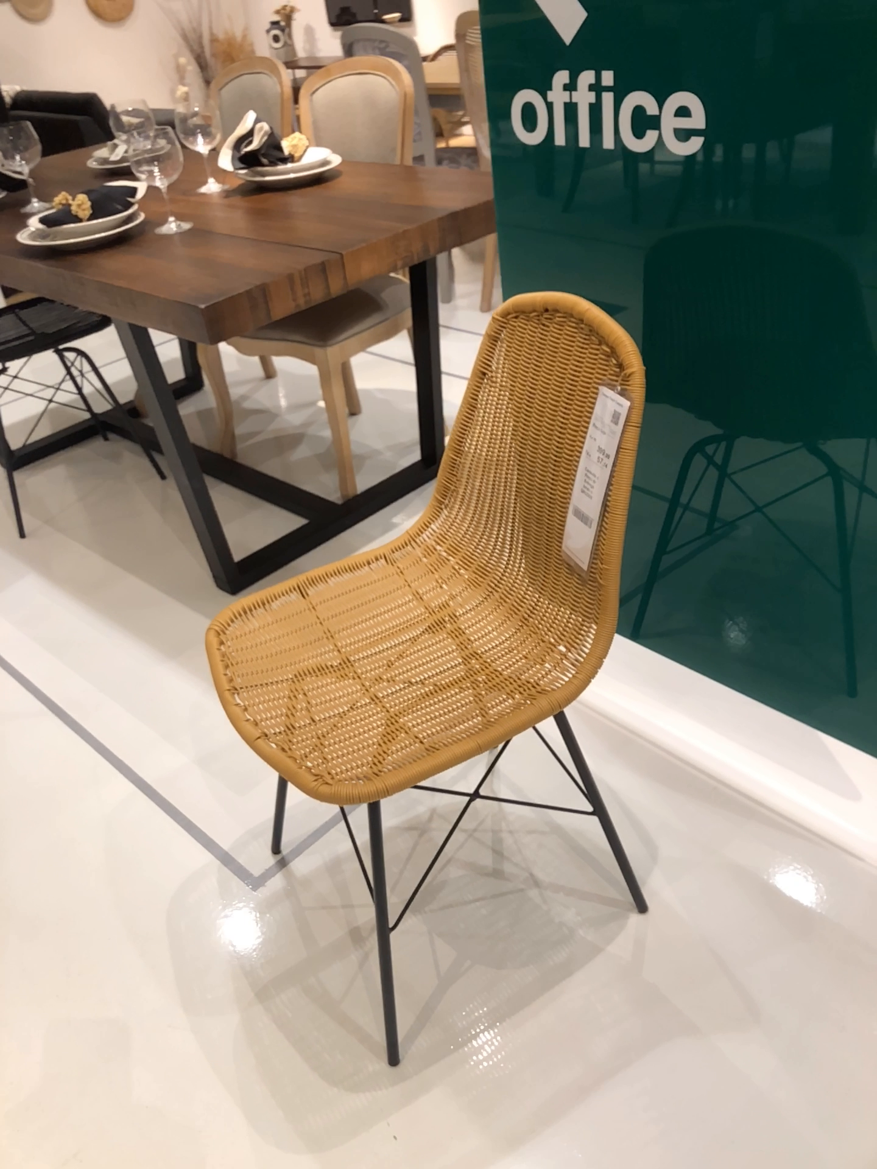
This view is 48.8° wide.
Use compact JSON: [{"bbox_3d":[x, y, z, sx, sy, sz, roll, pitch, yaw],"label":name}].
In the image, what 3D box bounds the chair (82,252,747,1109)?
[{"bbox_3d":[-0.005,0.105,1.291,0.571,0.863,0.493,-22,36,-21],"label":"chair"}]
